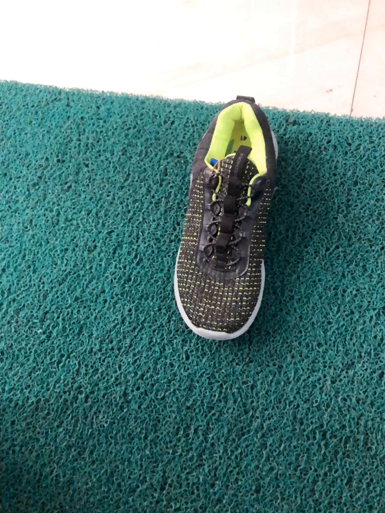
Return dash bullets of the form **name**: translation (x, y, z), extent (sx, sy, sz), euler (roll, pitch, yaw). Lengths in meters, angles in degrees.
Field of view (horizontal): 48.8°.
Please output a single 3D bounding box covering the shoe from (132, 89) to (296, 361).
- **shoe**: translation (0.034, -0.039, 0.462), extent (0.110, 0.090, 0.270), euler (9, 70, 12)
